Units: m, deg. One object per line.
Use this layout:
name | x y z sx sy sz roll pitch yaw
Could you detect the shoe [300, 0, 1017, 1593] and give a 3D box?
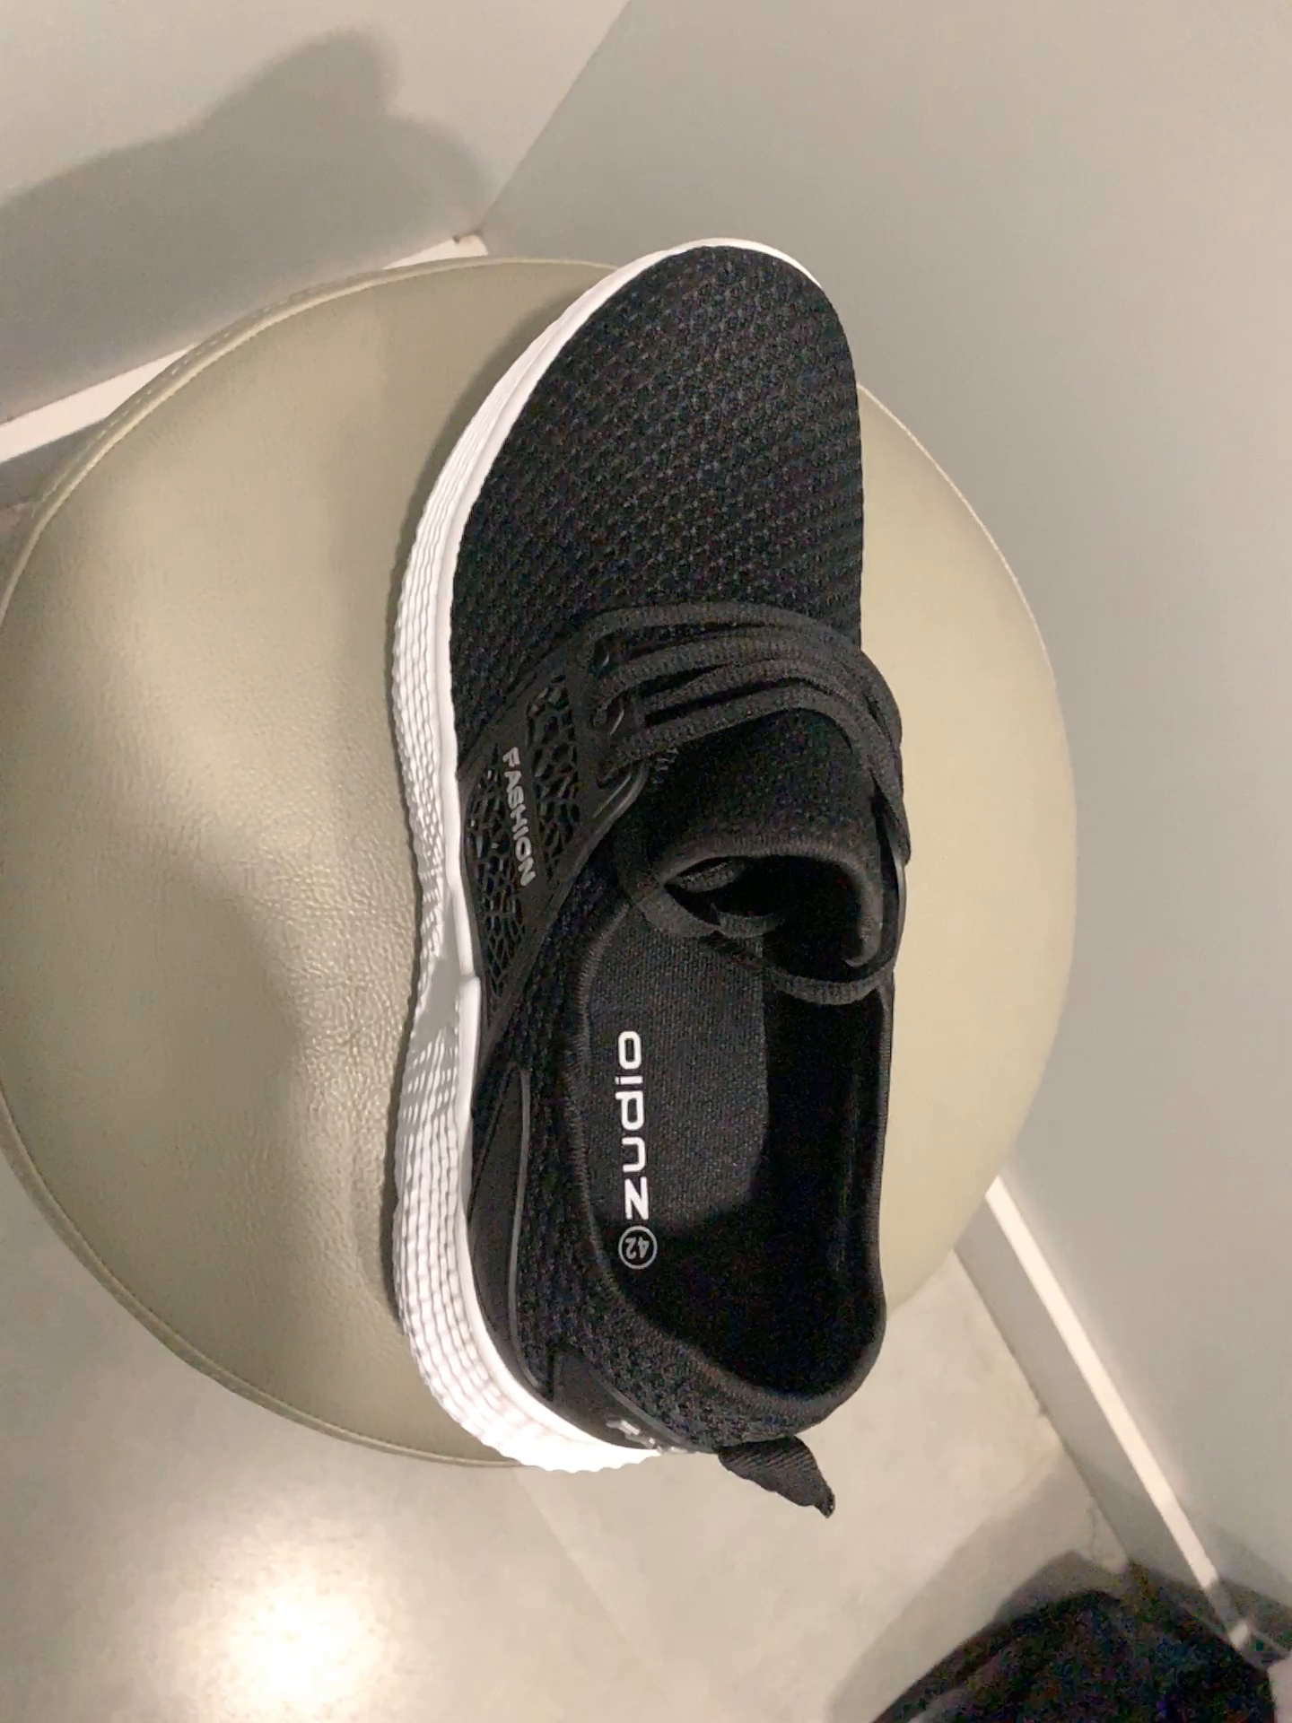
shoe | -0.001 -0.016 0.301 0.100 0.110 0.290 8 84 -25
